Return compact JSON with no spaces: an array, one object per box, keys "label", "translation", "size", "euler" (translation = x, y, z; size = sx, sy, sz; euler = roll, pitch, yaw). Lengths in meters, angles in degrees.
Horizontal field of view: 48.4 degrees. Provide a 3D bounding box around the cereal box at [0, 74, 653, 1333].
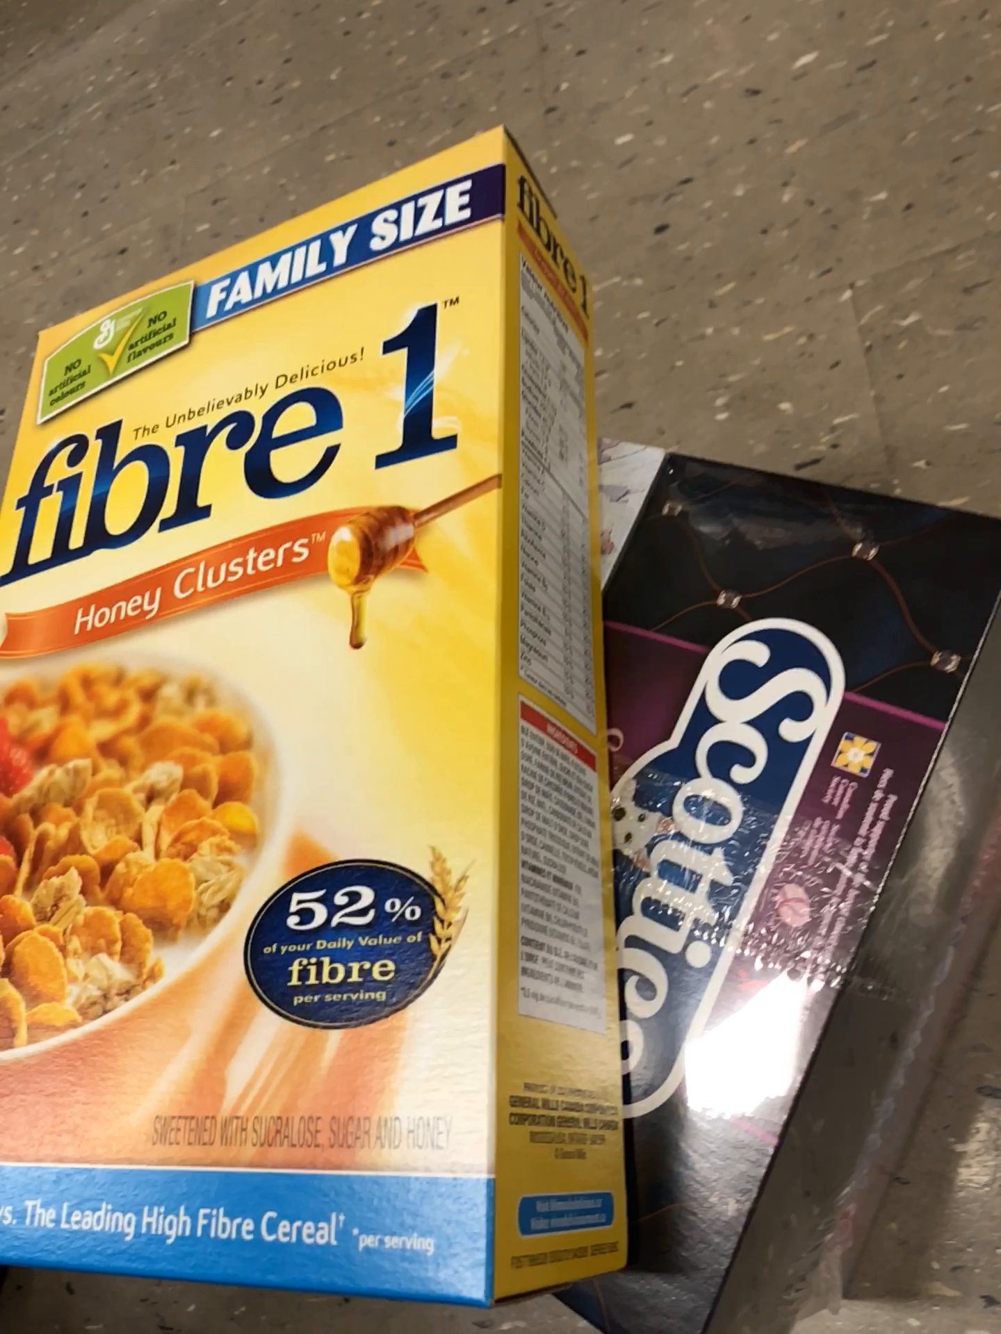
[{"label":"cereal box","translation":[-0.069,0.005,0.333],"size":[0.201,0.080,0.320],"euler":[-12,62,26]}]
